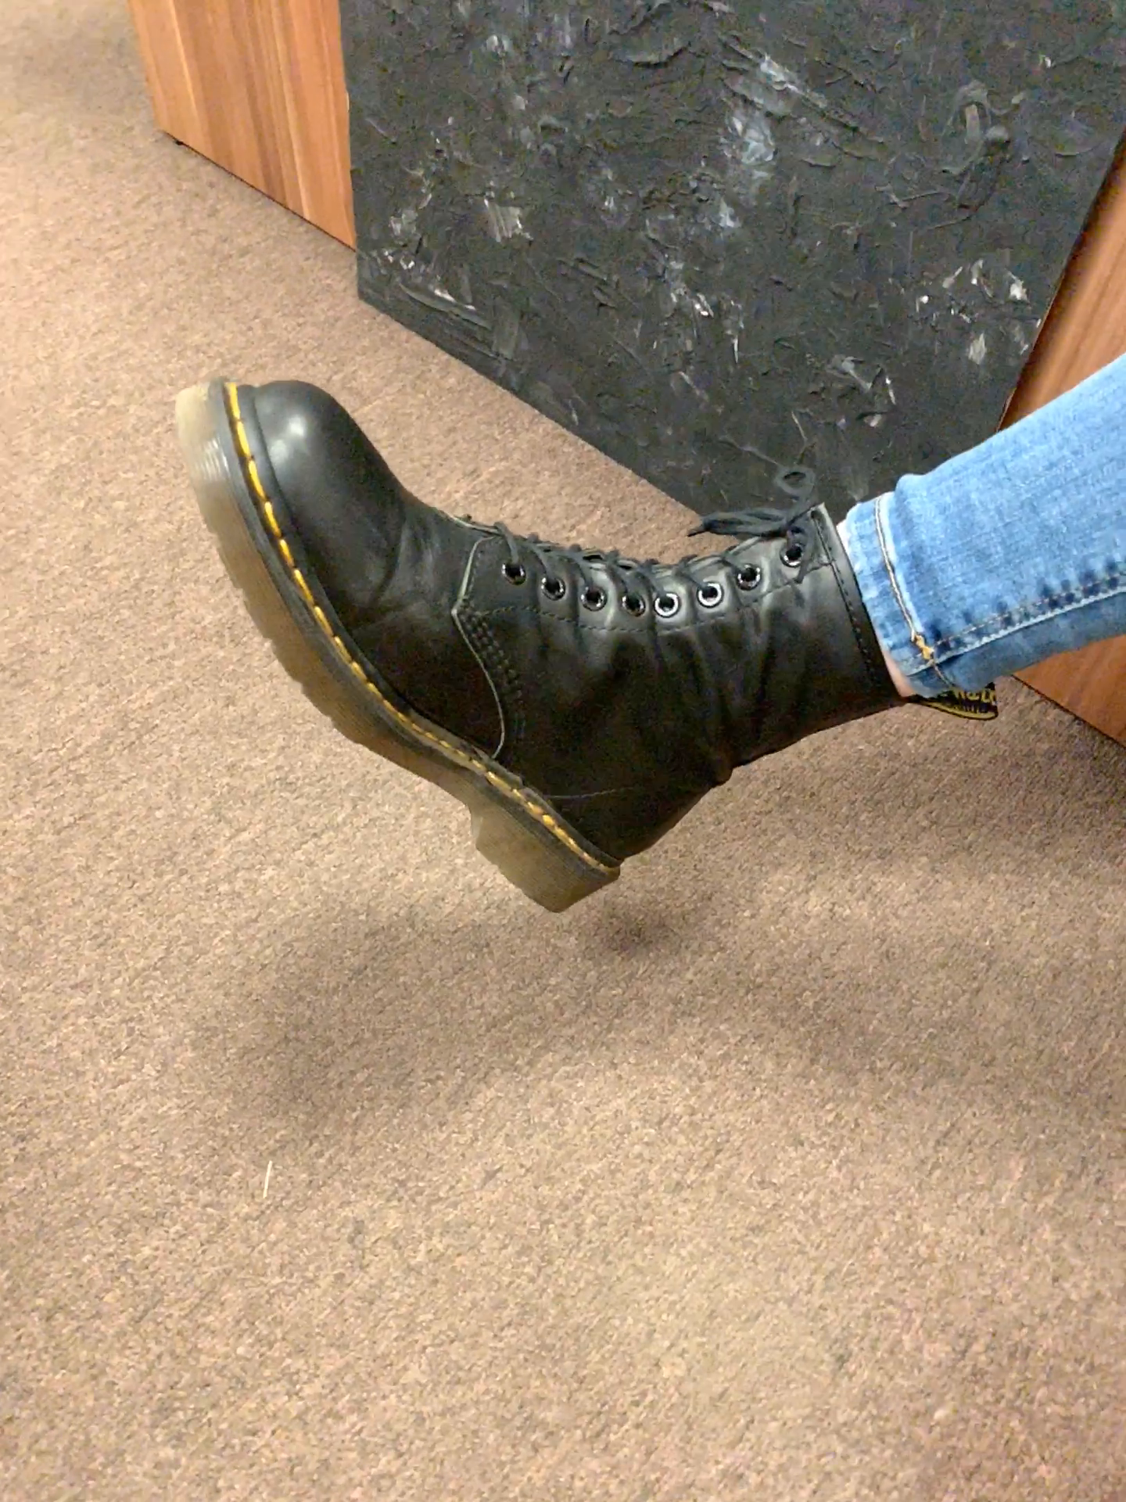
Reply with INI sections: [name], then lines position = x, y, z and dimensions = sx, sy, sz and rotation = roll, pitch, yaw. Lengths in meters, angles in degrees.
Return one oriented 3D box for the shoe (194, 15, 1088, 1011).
[shoe]
position = 0.065, -0.038, 0.475
dimensions = 0.230, 0.369, 0.120
rotation = -24, 54, 14
